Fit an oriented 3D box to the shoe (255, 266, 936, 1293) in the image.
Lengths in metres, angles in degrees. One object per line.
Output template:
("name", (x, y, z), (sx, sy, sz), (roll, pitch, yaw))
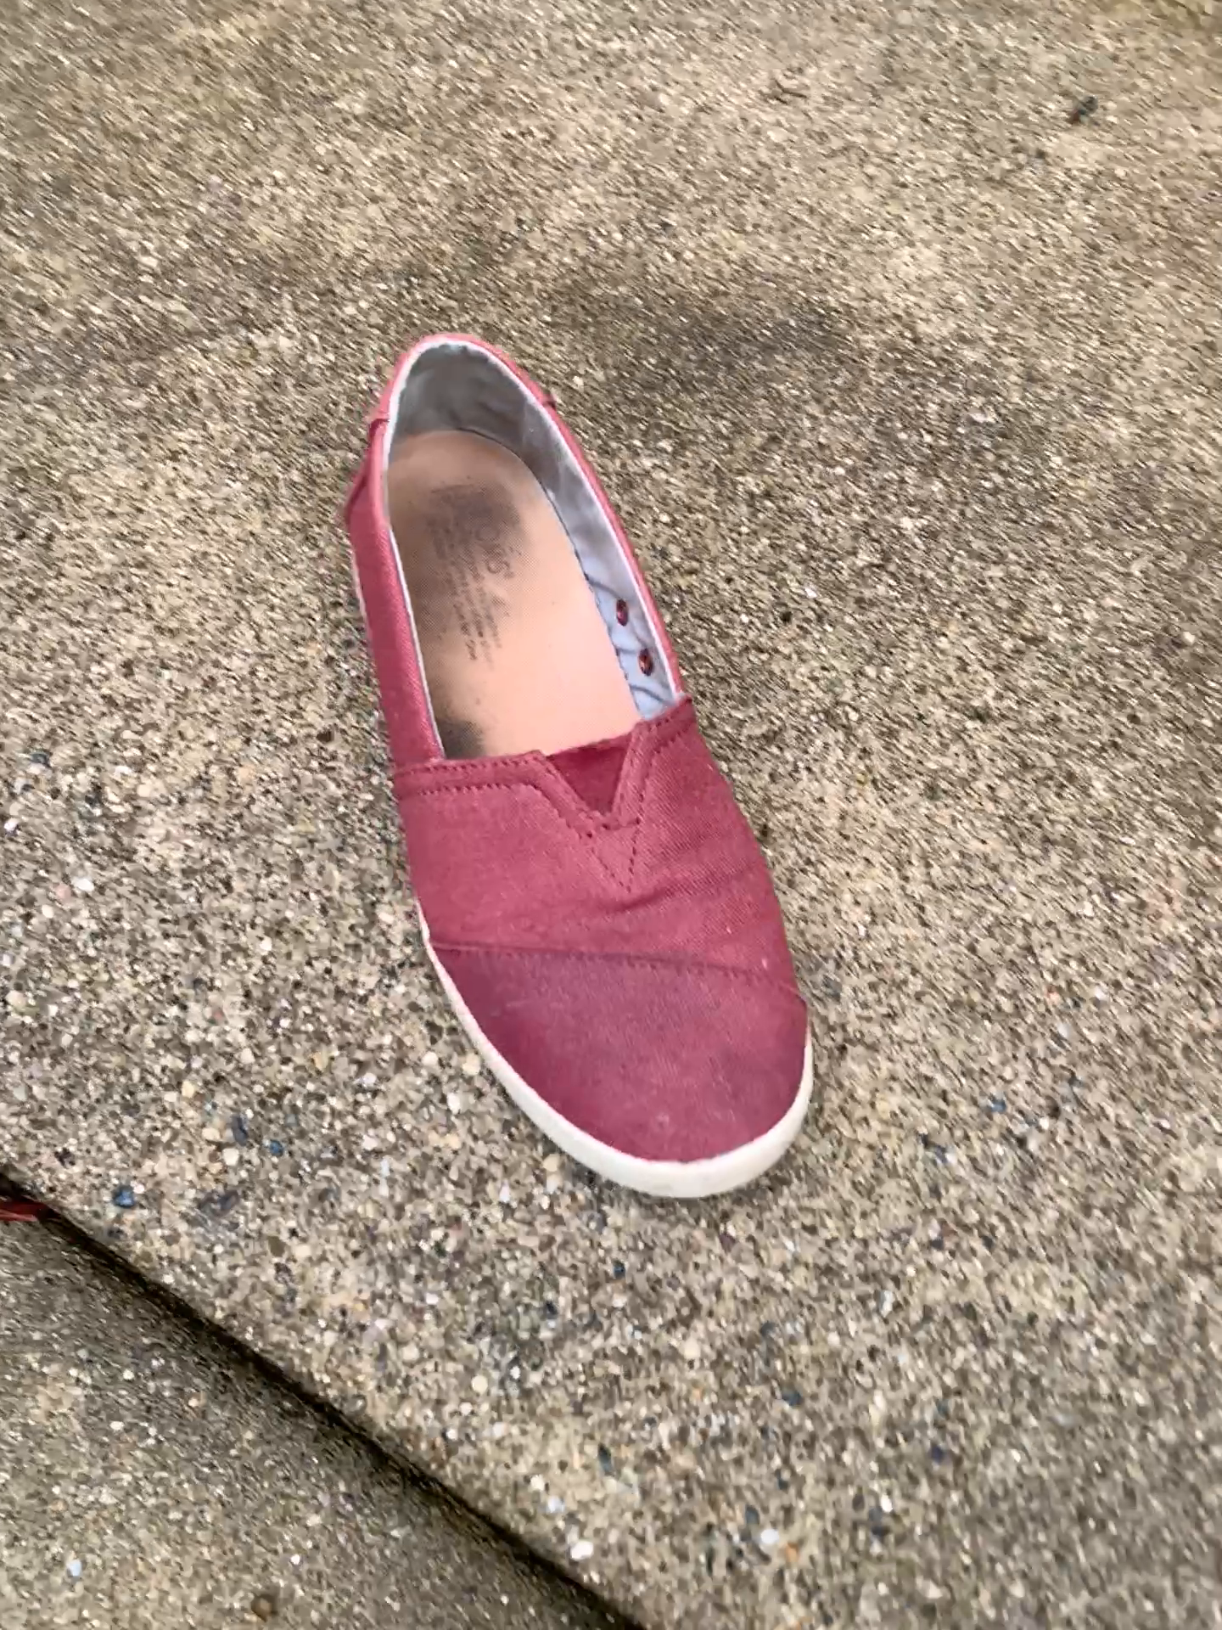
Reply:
("shoe", (-0.020, -0.020, 0.353), (0.098, 0.089, 0.266), (-14, 65, -12))
